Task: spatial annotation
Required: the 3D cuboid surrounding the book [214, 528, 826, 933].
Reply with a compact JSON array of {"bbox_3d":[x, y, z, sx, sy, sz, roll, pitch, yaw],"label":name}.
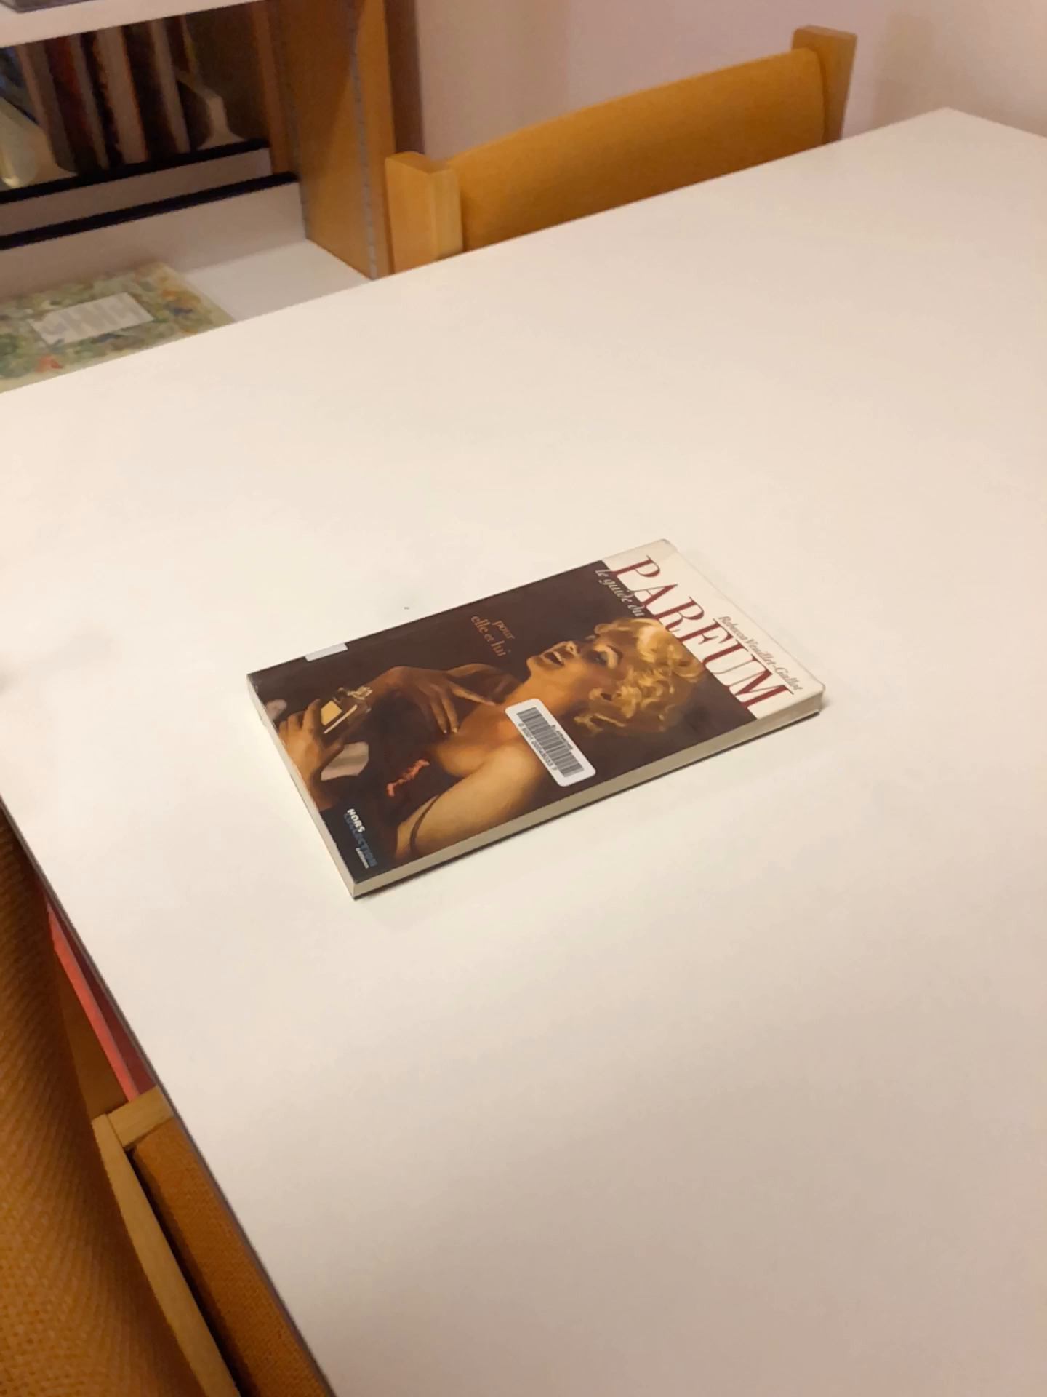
[{"bbox_3d":[-0.003,0.000,0.474,0.211,0.020,0.133,-20,46,-20],"label":"book"}]
